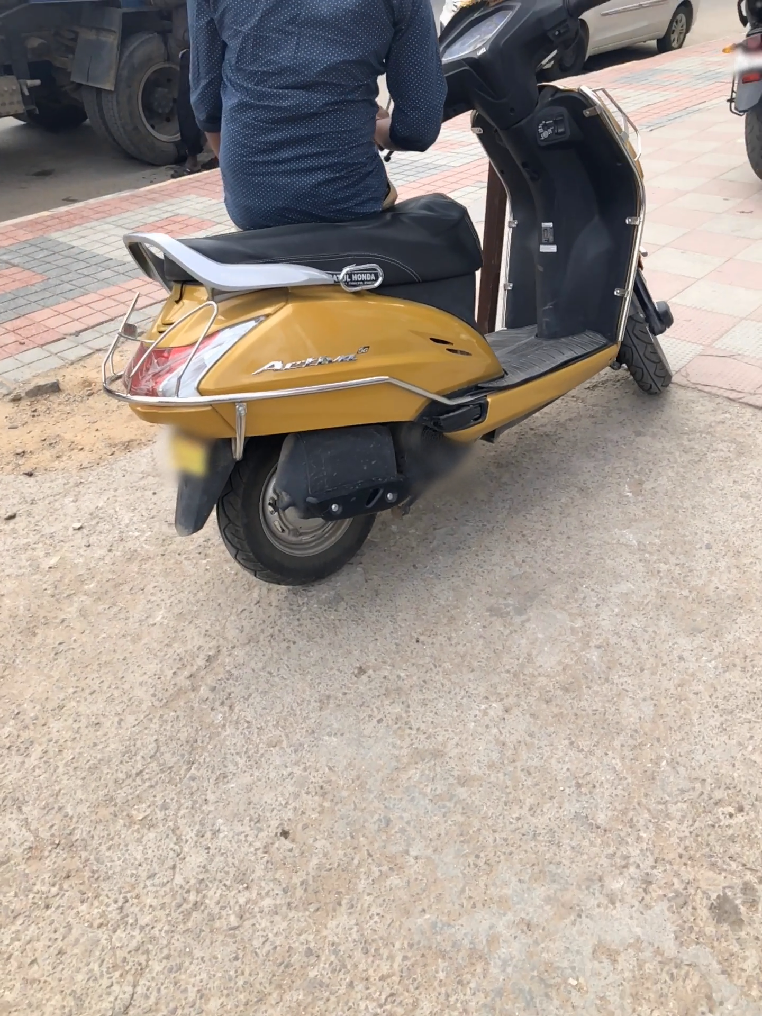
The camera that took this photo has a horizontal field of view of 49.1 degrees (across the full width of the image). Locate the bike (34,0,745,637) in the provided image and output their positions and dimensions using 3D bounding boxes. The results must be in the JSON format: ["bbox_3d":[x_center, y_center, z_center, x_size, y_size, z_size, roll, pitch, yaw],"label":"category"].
[{"bbox_3d":[0.117,-0.696,2.049,0.585,1.153,1.534,29,48,35],"label":"bike"}]
